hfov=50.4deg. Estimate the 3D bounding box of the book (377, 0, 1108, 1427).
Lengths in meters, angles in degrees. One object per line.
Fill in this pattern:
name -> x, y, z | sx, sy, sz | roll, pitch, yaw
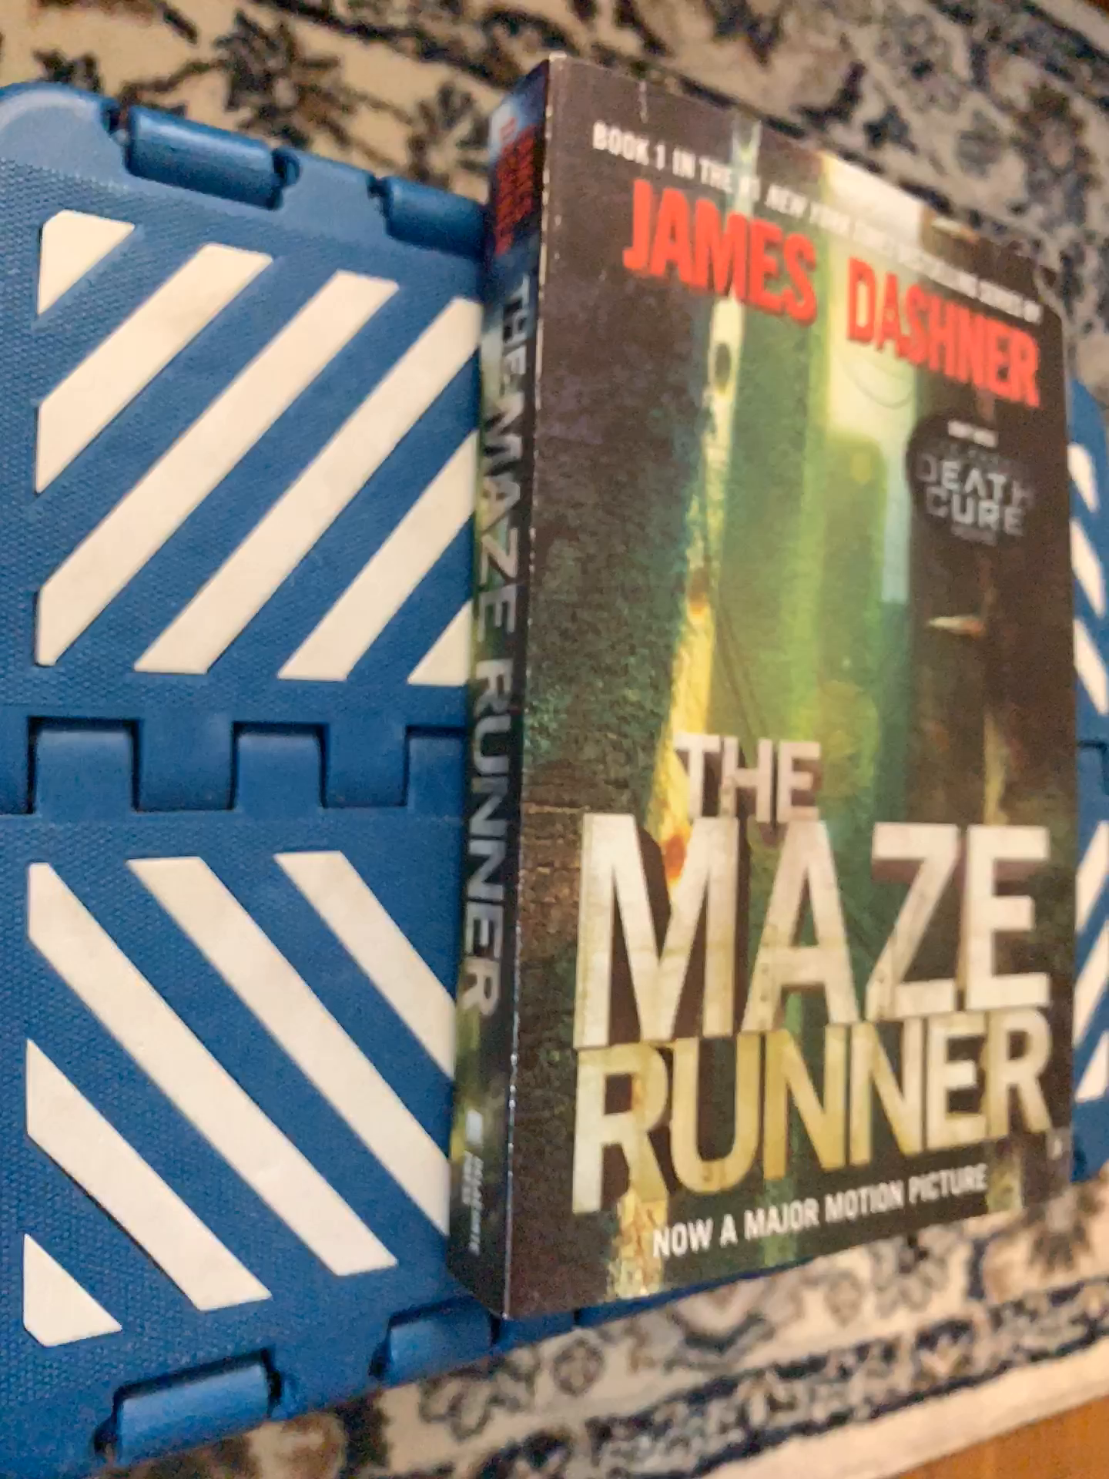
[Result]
book -> 0.047, -0.013, 0.226 | 0.151, 0.030, 0.230 | 5, 84, -31
